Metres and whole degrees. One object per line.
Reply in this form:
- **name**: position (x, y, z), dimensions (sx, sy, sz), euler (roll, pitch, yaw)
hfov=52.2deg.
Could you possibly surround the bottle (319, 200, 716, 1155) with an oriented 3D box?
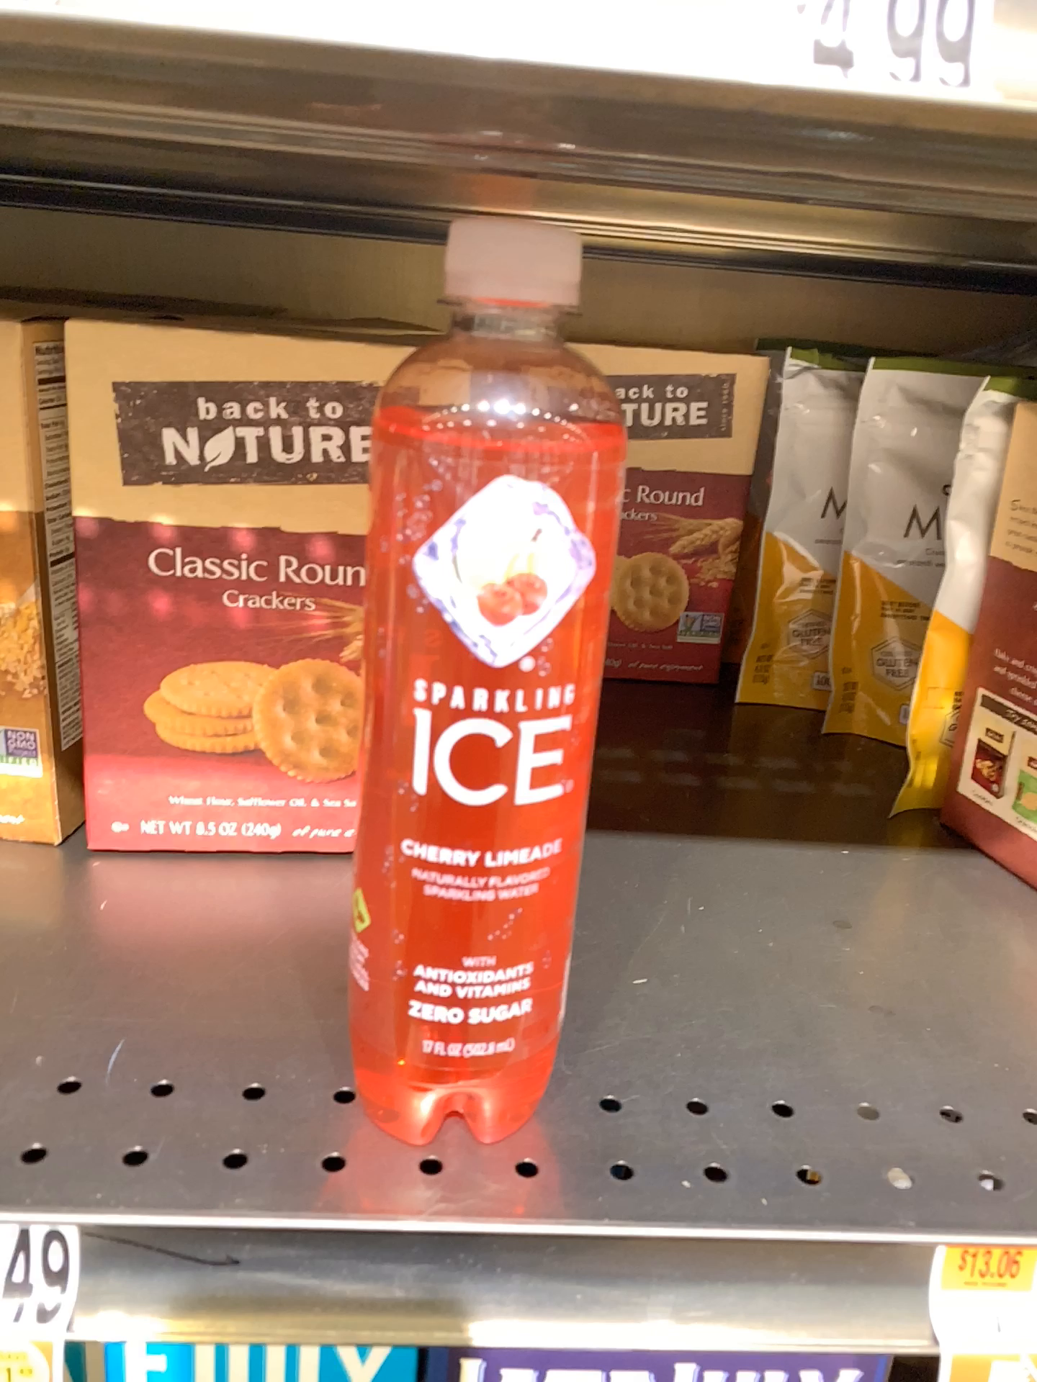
- **bottle**: position (-0.009, 0.005, 0.247), dimensions (0.065, 0.210, 0.060), euler (4, 22, -2)
